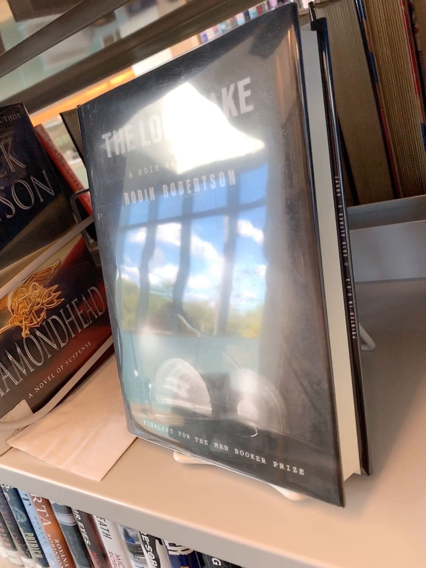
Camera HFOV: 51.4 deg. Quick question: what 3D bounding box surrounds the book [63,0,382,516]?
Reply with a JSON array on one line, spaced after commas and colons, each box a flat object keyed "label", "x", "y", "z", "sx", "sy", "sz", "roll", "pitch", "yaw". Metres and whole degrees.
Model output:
[{"label": "book", "x": -0.004, "y": -0.008, "z": 0.240, "sx": 0.161, "sy": 0.206, "sz": 0.040, "roll": -1, "pitch": 9, "yaw": 42}]
